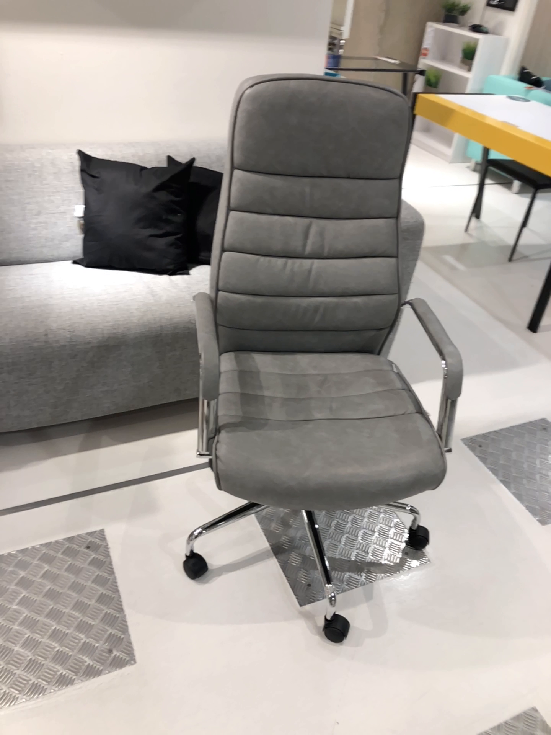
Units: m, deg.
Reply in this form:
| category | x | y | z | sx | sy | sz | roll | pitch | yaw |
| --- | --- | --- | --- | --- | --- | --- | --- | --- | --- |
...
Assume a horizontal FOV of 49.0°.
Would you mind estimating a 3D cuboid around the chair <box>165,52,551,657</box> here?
| category | x | y | z | sx | sy | sz | roll | pitch | yaw |
| --- | --- | --- | --- | --- | --- | --- | --- | --- | --- |
| chair | 0.136 | -0.025 | 1.338 | 0.720 | 1.052 | 0.725 | 0 | 35 | -9 |
